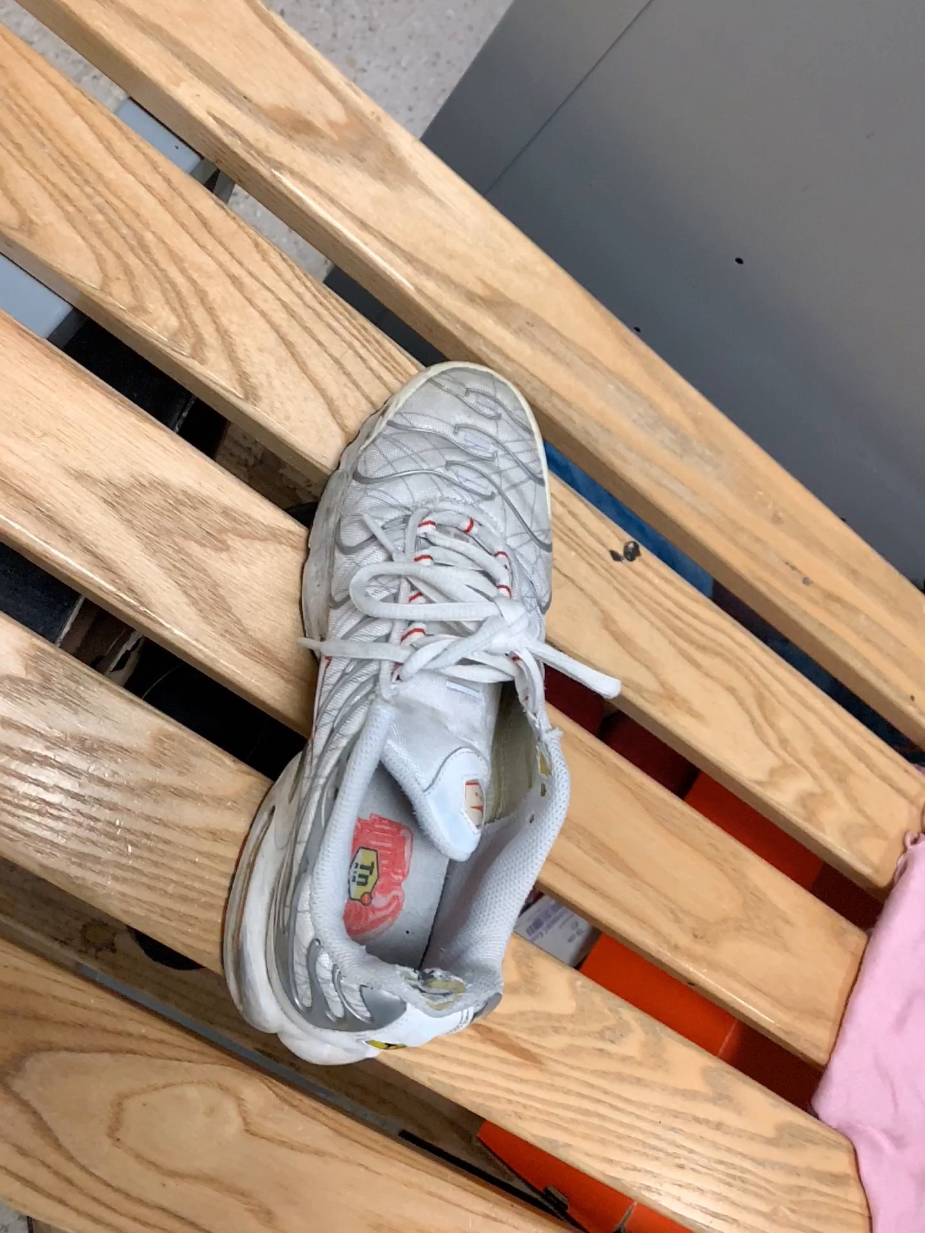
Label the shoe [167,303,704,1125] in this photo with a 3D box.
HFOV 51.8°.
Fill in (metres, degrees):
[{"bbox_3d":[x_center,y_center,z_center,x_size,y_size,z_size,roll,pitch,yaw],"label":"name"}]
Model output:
[{"bbox_3d":[-0.009,0.031,0.333,0.100,0.105,0.227,21,73,-22],"label":"shoe"}]
